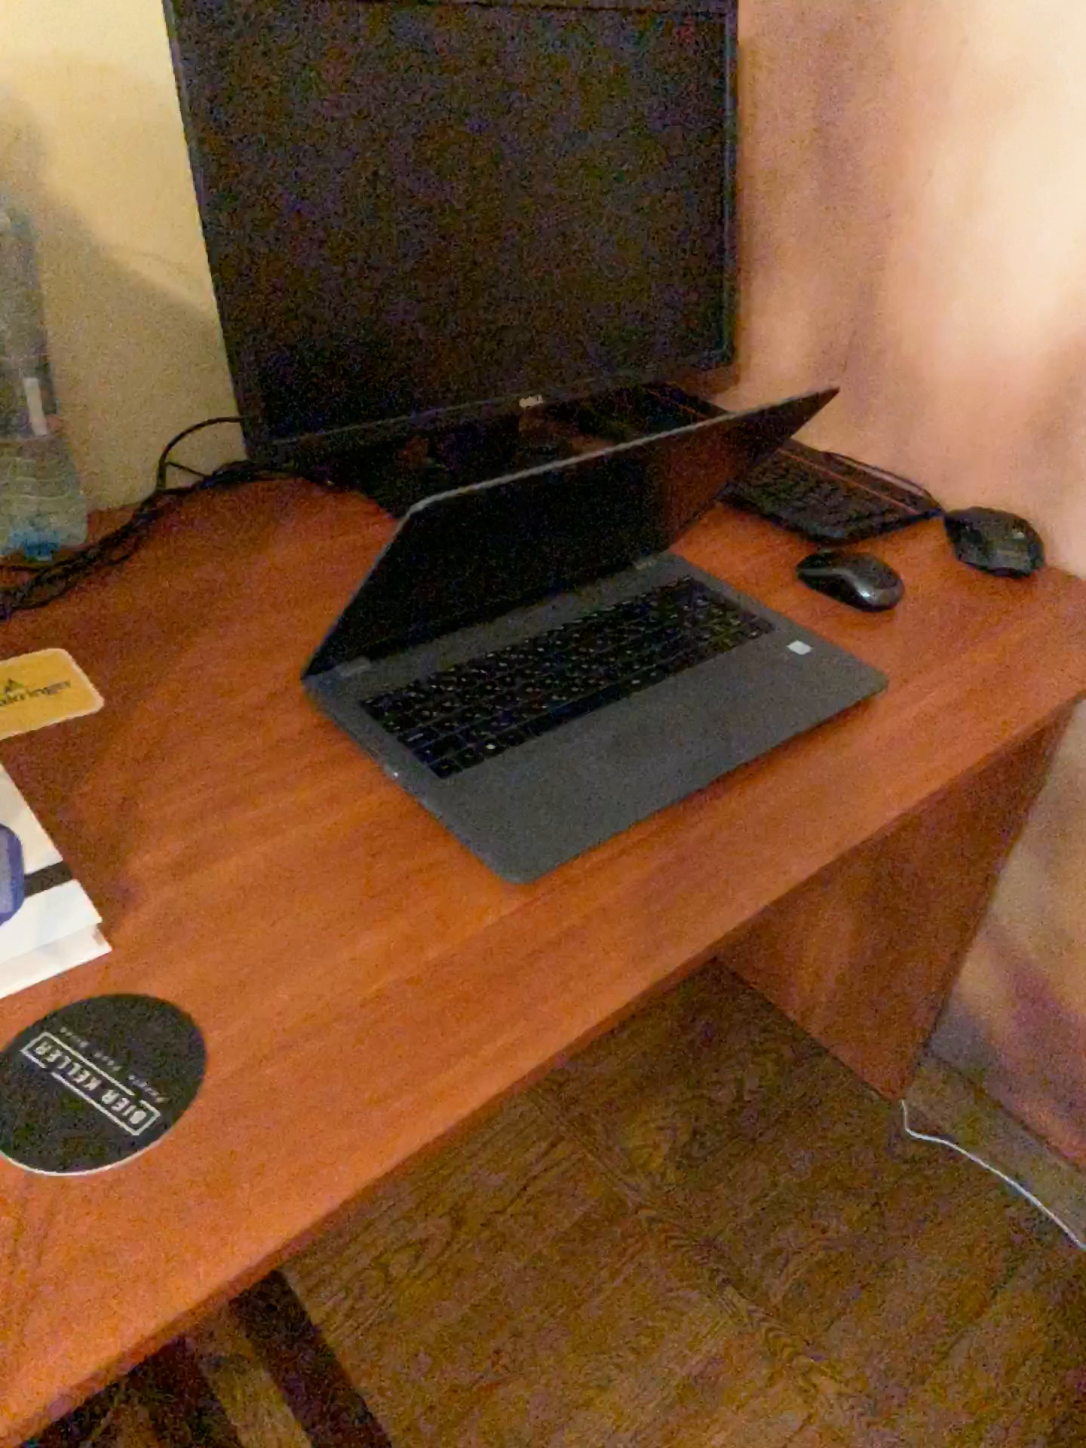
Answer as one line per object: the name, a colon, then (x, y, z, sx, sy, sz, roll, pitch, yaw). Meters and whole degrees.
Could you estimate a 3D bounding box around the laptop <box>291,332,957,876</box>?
laptop: (0.054, -0.109, 0.747, 0.361, 0.191, 0.232, -24, 46, -34)
